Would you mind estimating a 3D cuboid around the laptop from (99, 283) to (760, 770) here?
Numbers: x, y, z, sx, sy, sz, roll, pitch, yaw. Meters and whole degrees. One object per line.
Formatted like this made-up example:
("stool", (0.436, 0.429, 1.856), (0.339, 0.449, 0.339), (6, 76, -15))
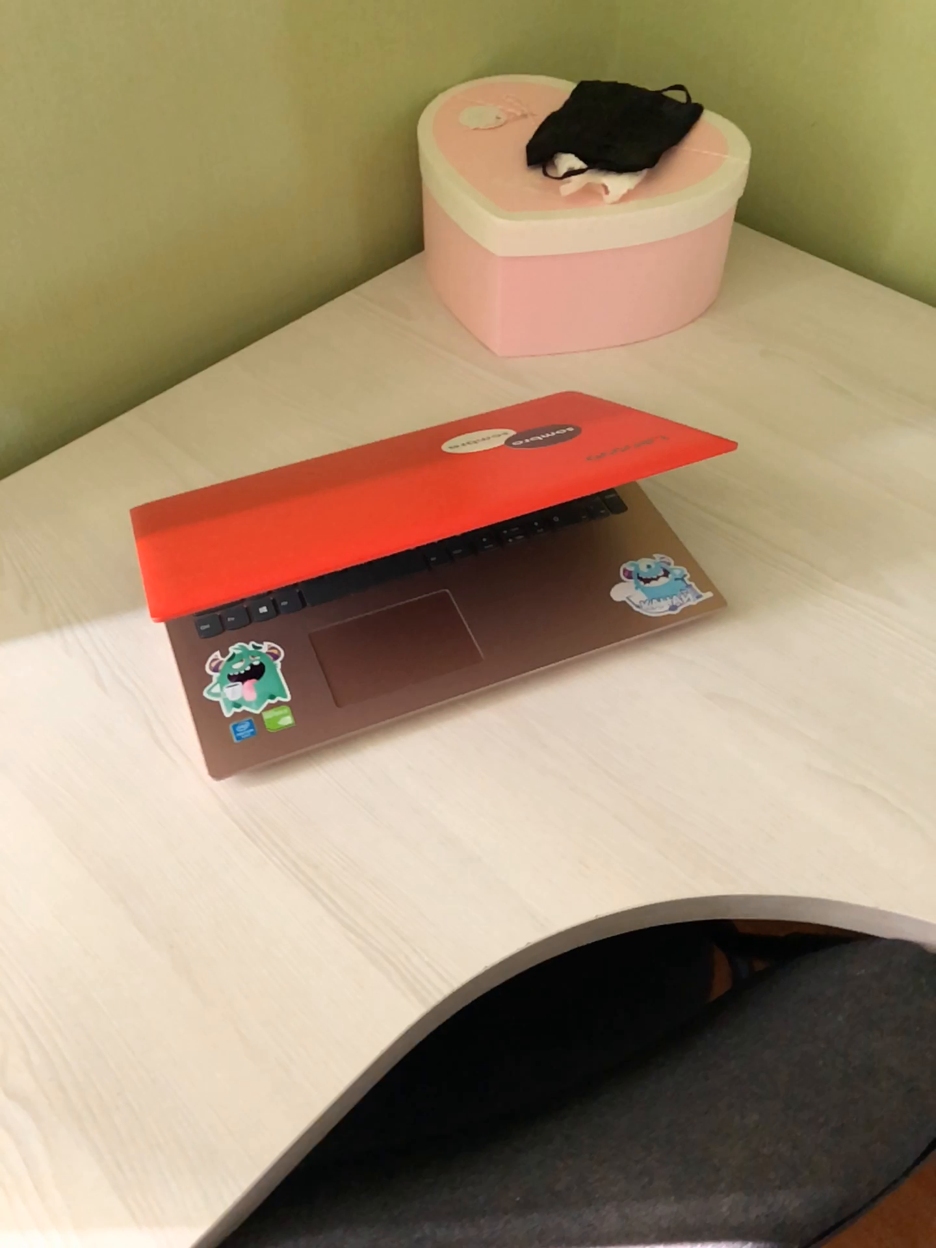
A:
("laptop", (-0.032, -0.083, 0.711), (0.366, 0.112, 0.233), (-18, 53, -14))
